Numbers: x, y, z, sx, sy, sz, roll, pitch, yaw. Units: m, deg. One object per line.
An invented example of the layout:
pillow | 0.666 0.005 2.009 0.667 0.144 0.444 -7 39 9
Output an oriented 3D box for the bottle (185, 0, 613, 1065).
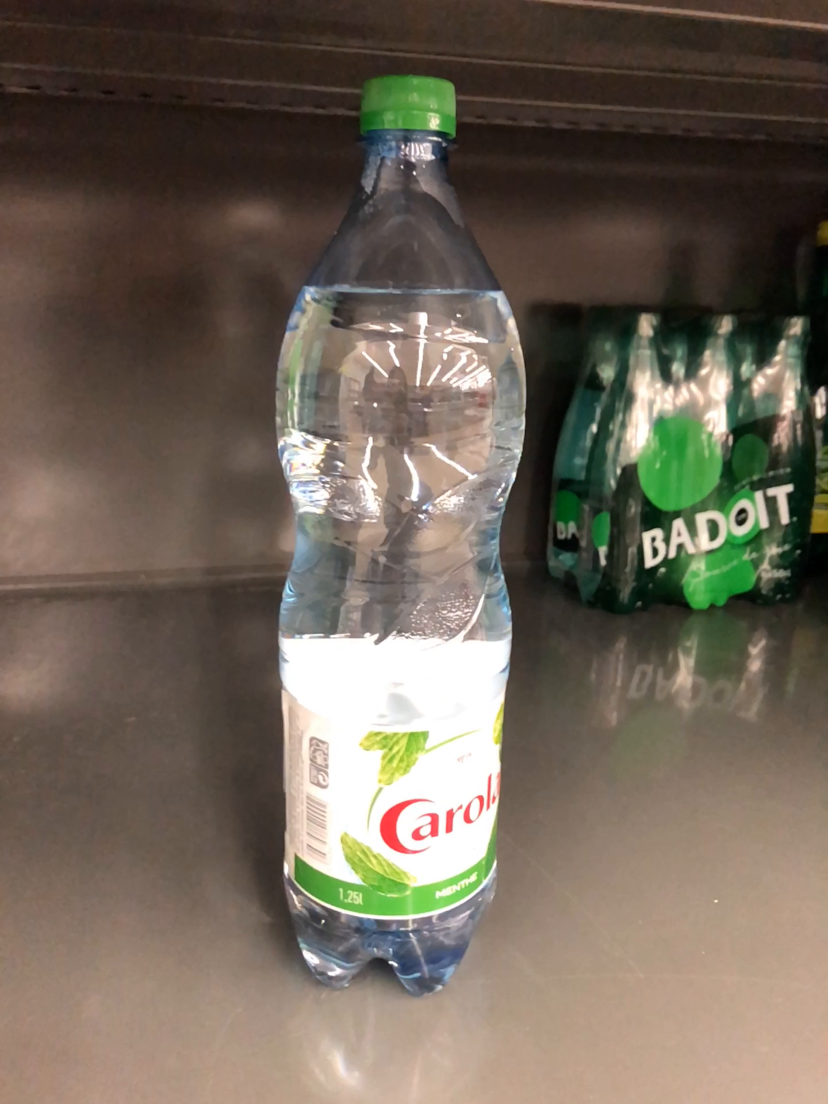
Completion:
bottle | -0.011 -0.002 0.345 0.100 0.339 0.100 1 16 0
